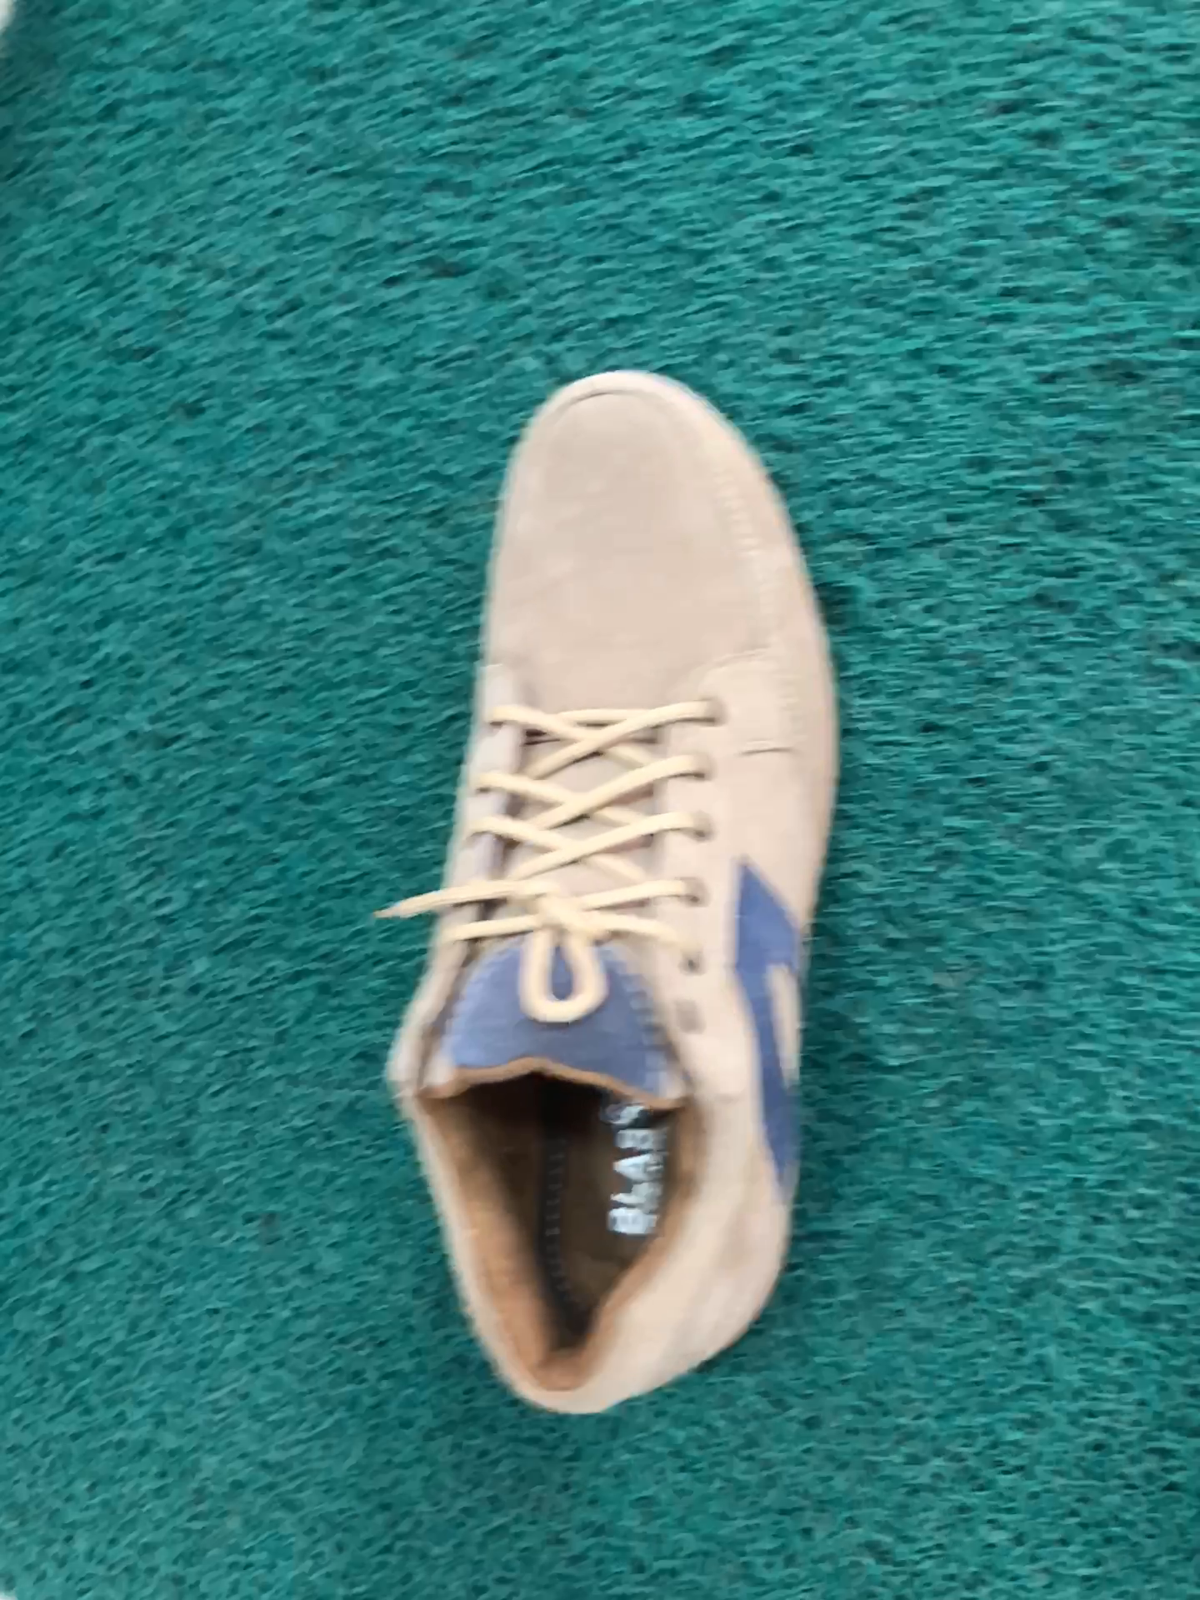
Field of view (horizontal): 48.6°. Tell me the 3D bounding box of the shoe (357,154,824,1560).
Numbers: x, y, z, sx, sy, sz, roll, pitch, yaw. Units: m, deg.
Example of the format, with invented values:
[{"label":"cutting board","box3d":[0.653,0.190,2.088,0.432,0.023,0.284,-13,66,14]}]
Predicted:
[{"label":"shoe","box3d":[0.004,0.013,0.374,0.100,0.120,0.320,-1,88,16]}]
